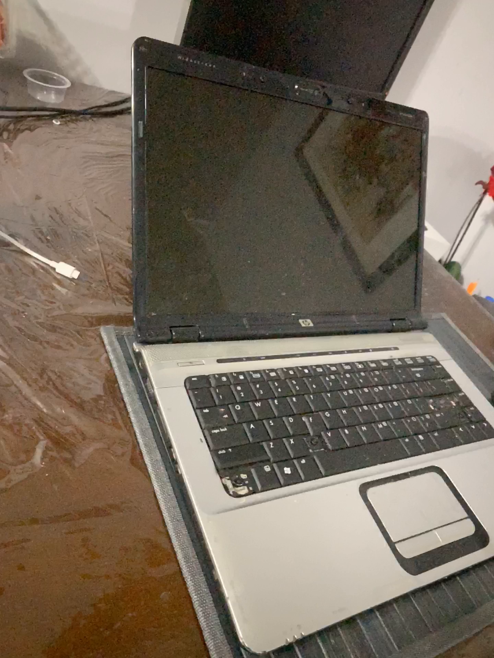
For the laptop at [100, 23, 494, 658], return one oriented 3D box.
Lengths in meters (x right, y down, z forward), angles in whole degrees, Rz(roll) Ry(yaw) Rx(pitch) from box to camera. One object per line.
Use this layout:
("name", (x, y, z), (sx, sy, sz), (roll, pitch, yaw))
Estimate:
("laptop", (0.107, -0.041, 0.429), (0.350, 0.186, 0.403), (-2, 46, -31))
